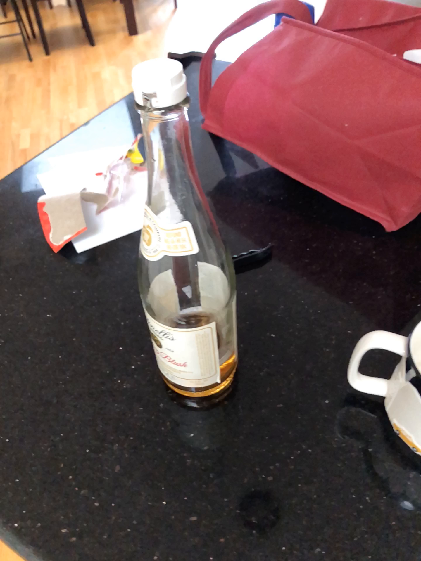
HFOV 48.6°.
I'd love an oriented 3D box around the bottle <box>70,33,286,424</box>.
[{"bbox_3d":[-0.014,-0.012,0.401,0.101,0.330,0.093,-2,48,2],"label":"bottle"}]
